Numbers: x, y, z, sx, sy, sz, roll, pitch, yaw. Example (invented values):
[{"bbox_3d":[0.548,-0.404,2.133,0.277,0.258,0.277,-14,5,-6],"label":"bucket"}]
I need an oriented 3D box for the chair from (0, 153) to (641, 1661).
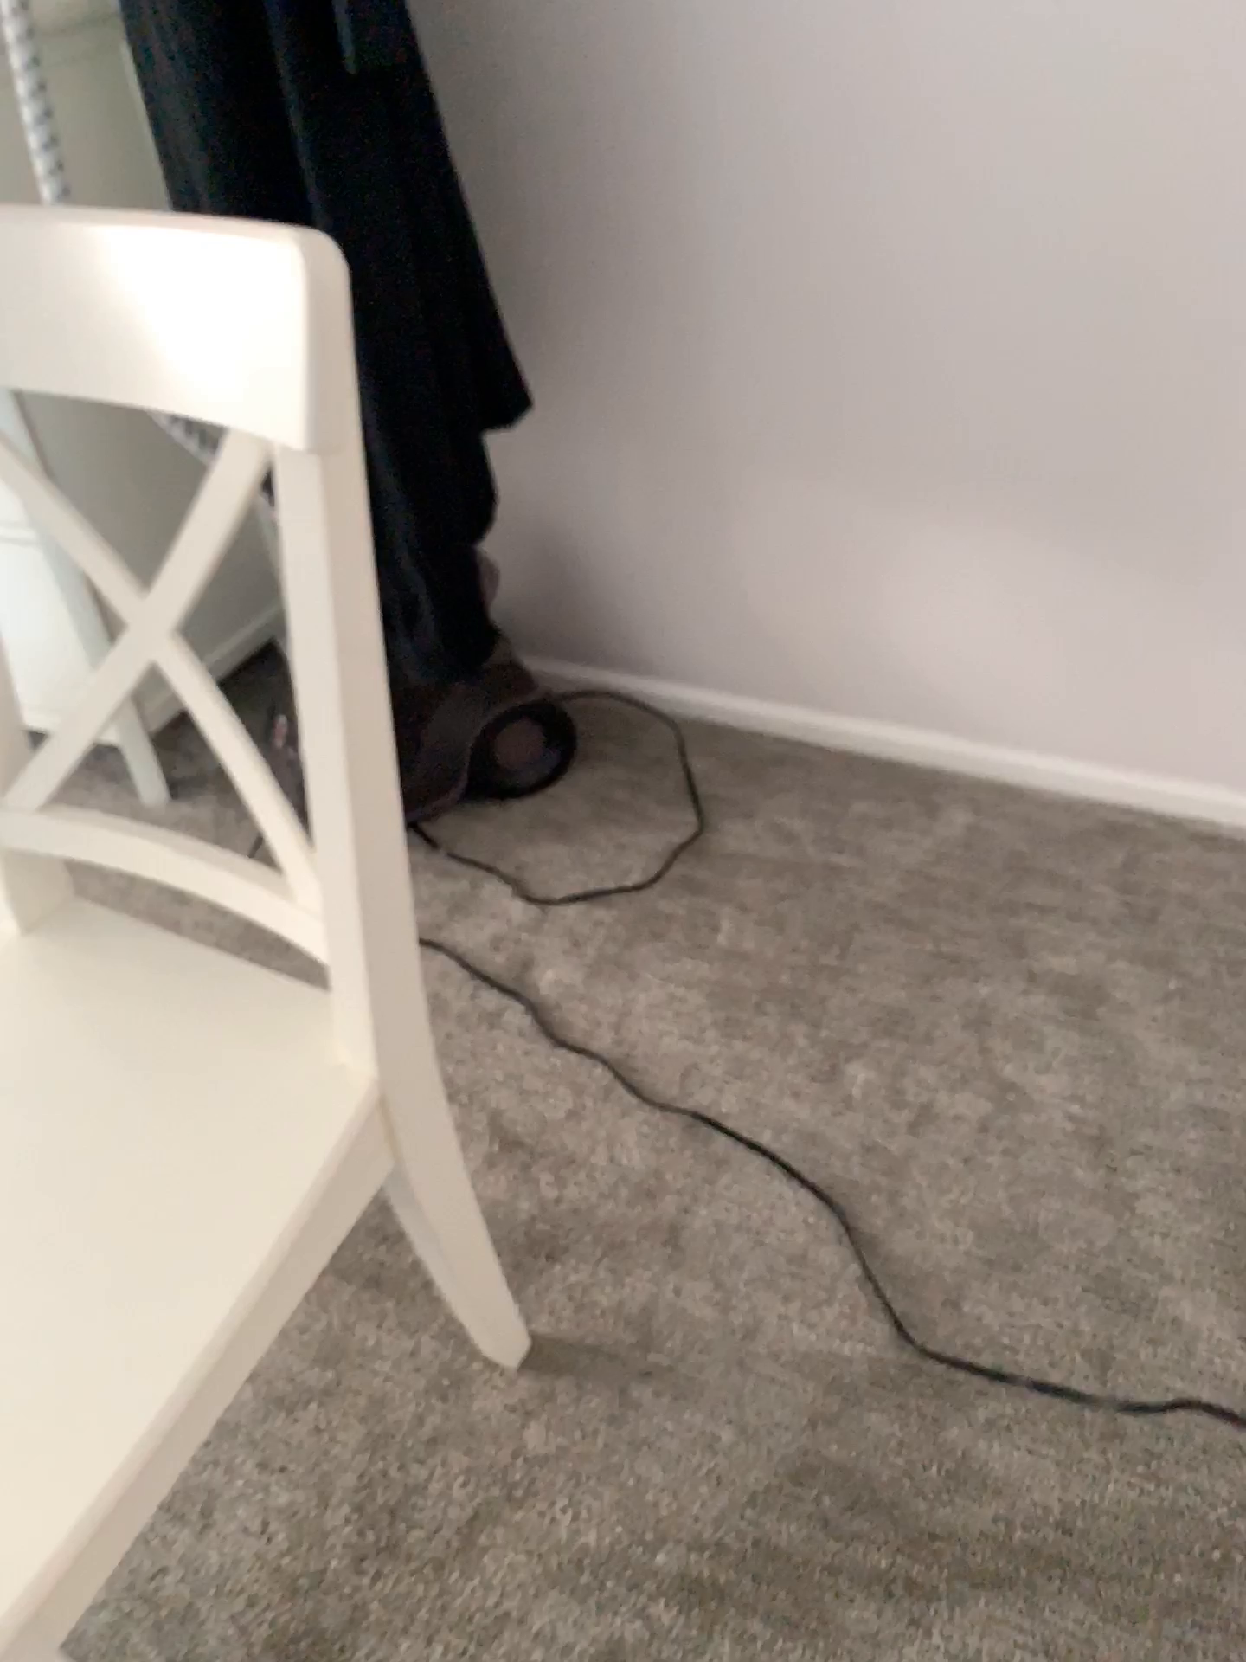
[{"bbox_3d":[-0.426,0.129,0.710,0.612,0.766,0.572,15,44,25],"label":"chair"}]
